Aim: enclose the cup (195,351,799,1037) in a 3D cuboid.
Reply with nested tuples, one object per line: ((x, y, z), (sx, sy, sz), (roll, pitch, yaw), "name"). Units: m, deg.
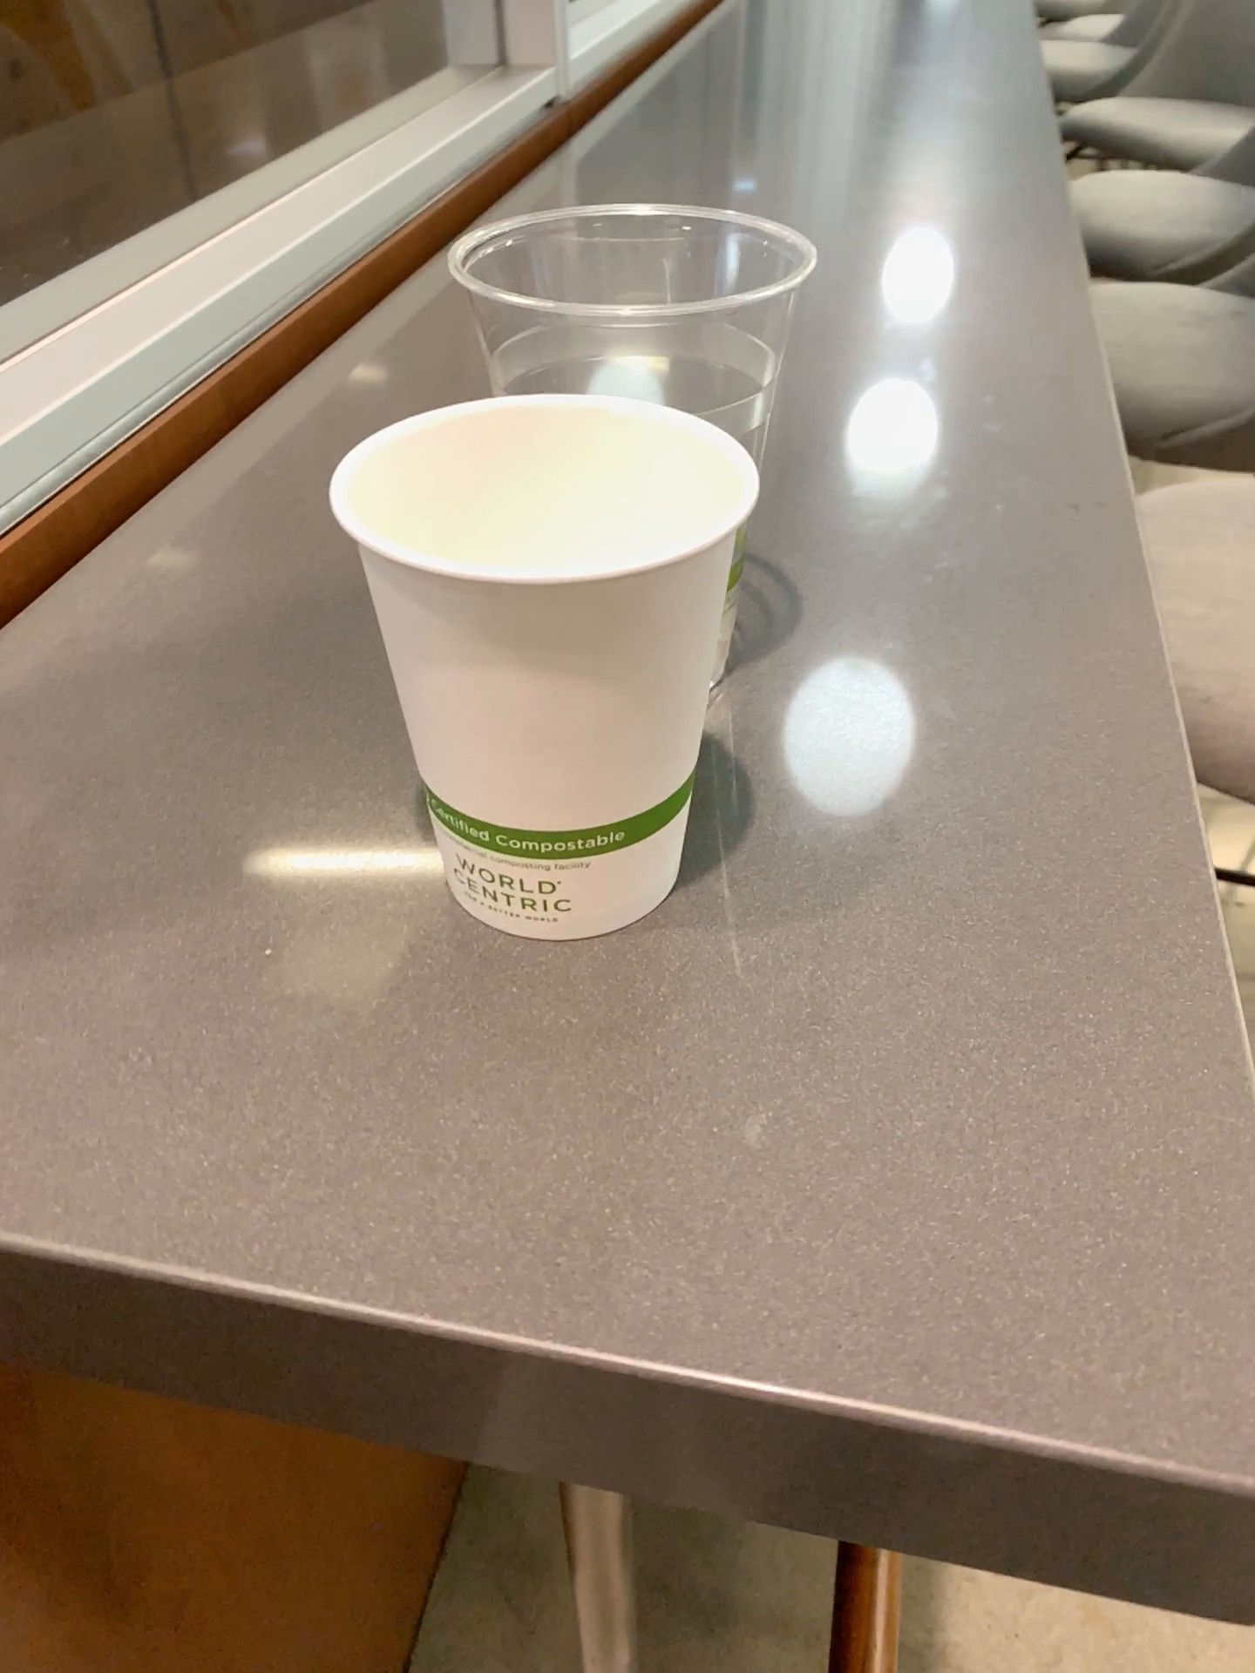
((-0.021, -0.036, 0.296), (0.090, 0.109, 0.090), (-1, 39, 1), "cup")

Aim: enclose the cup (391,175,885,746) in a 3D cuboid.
((0.006, -0.107, 0.362), (0.100, 0.119, 0.080), (15, 41, 19), "cup")
